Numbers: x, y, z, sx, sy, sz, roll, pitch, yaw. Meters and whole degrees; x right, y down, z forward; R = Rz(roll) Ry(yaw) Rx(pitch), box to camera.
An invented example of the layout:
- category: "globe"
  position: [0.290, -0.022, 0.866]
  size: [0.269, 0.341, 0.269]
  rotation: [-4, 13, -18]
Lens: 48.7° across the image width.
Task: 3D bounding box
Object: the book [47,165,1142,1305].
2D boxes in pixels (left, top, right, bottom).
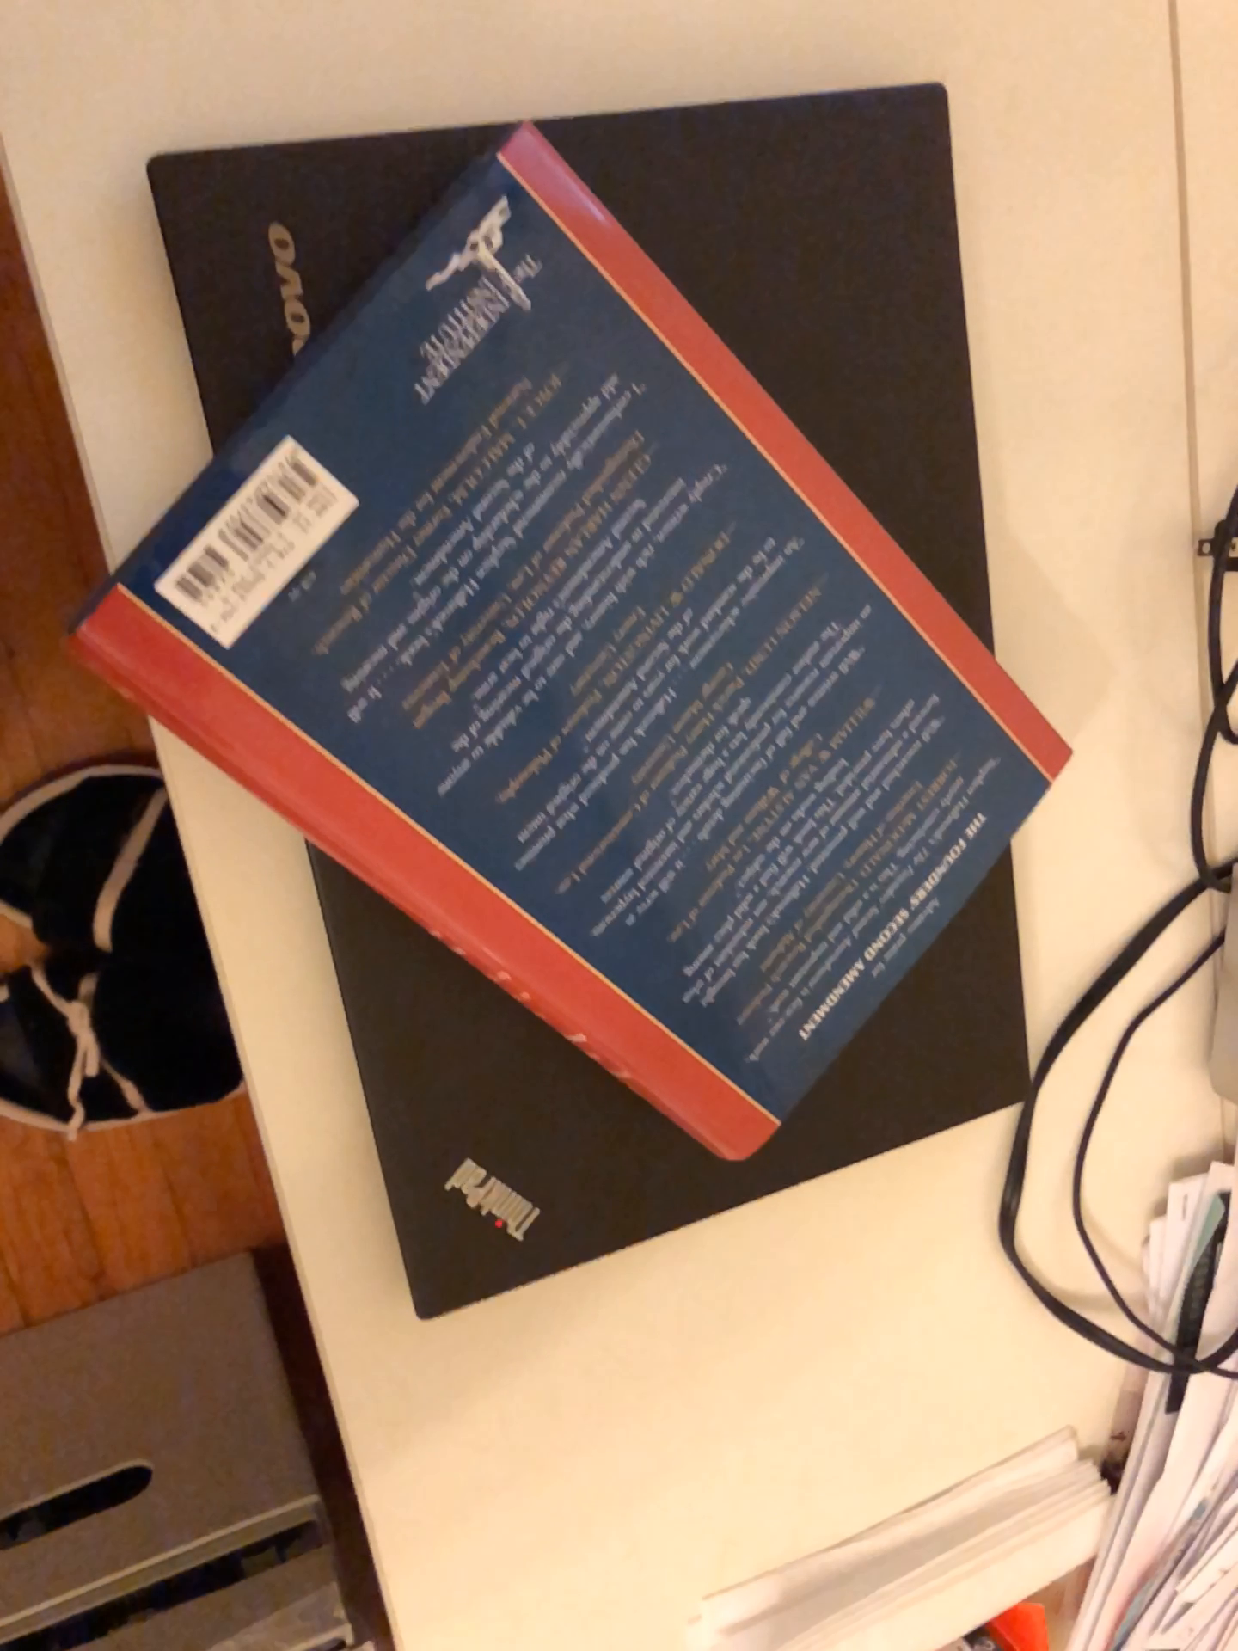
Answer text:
- category: "book"
  position: [0.009, -0.011, 0.361]
  size: [0.240, 0.040, 0.170]
  rotation: [43, 82, -22]
